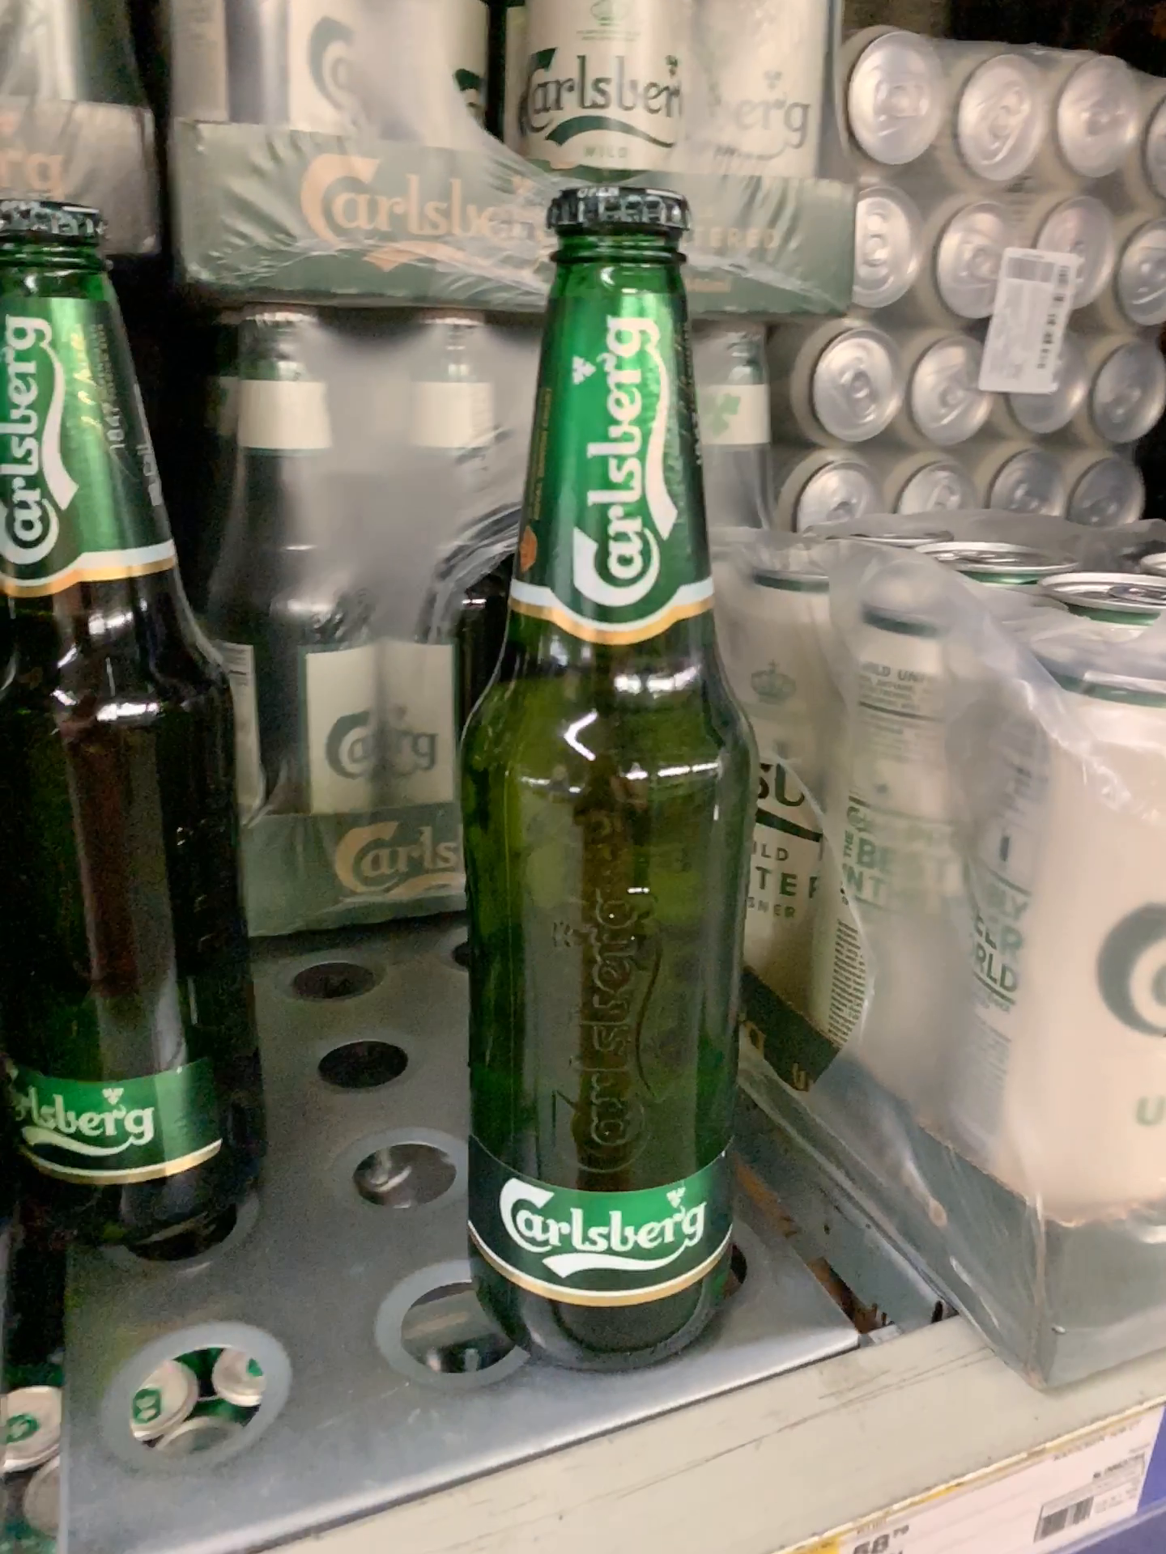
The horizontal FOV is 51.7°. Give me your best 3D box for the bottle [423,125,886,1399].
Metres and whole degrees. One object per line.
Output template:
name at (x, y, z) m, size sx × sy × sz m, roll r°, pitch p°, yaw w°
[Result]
bottle at (0.006, 0.006, 0.259) m, size 0.071 × 0.249 × 0.060 m, roll -3°, pitch 19°, yaw -12°
